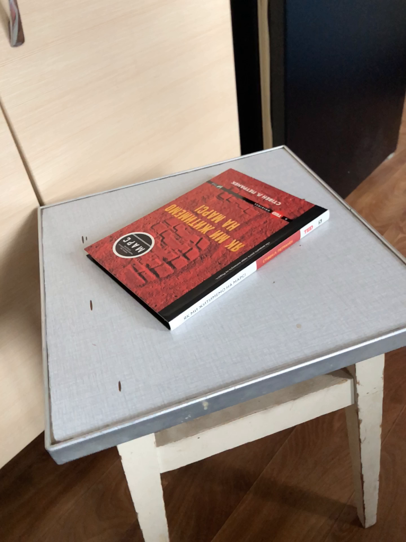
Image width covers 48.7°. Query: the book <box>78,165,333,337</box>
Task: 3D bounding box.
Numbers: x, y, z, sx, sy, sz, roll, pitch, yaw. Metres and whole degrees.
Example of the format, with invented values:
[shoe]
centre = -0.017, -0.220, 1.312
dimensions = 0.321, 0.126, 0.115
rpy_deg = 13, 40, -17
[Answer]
[book]
centre = 0.004, -0.037, 0.454
dimensions = 0.214, 0.015, 0.146
rpy_deg = -33, 46, -26
